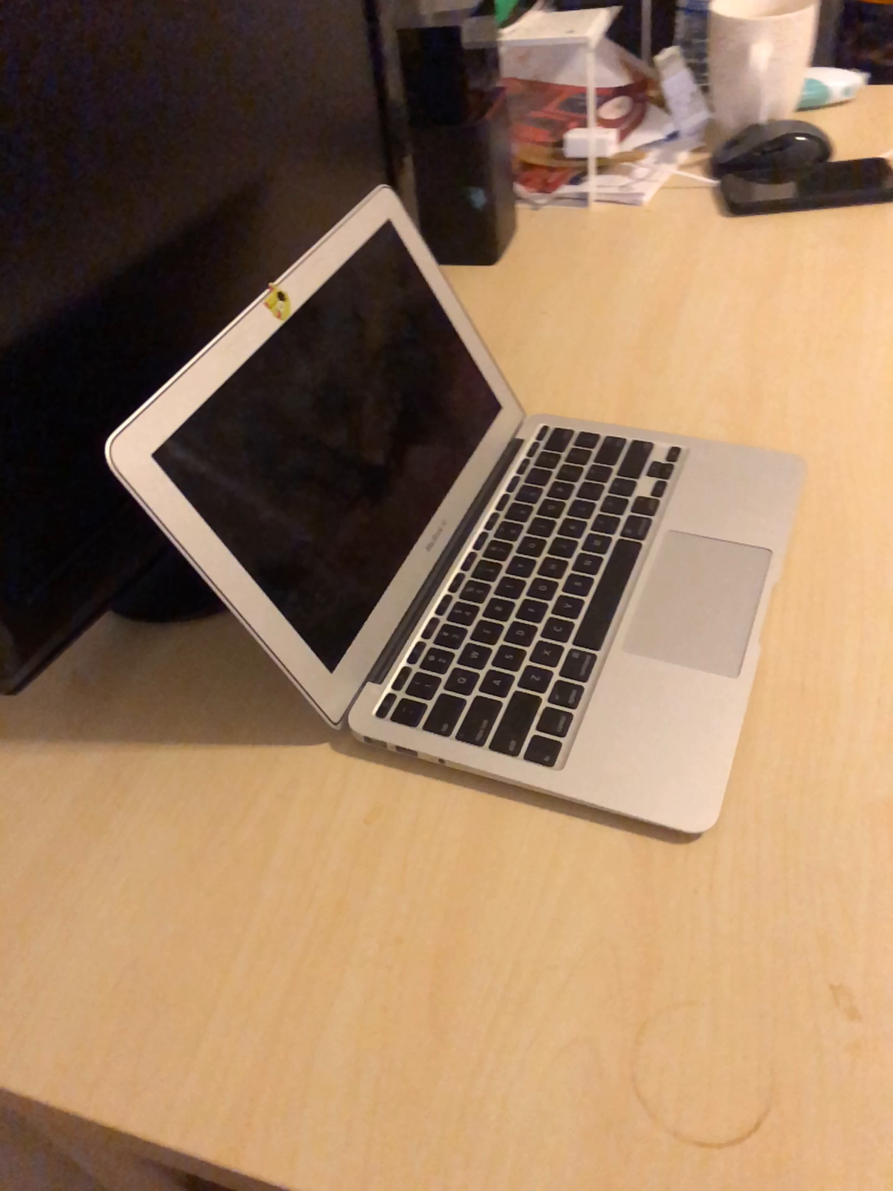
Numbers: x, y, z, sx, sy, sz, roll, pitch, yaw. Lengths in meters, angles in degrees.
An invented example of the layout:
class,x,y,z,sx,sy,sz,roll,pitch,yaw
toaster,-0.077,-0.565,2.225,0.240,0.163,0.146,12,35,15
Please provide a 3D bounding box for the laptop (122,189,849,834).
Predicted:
class,x,y,z,sx,sy,sz,roll,pitch,yaw
laptop,0.045,-0.075,0.531,0.275,0.160,0.291,12,47,20
